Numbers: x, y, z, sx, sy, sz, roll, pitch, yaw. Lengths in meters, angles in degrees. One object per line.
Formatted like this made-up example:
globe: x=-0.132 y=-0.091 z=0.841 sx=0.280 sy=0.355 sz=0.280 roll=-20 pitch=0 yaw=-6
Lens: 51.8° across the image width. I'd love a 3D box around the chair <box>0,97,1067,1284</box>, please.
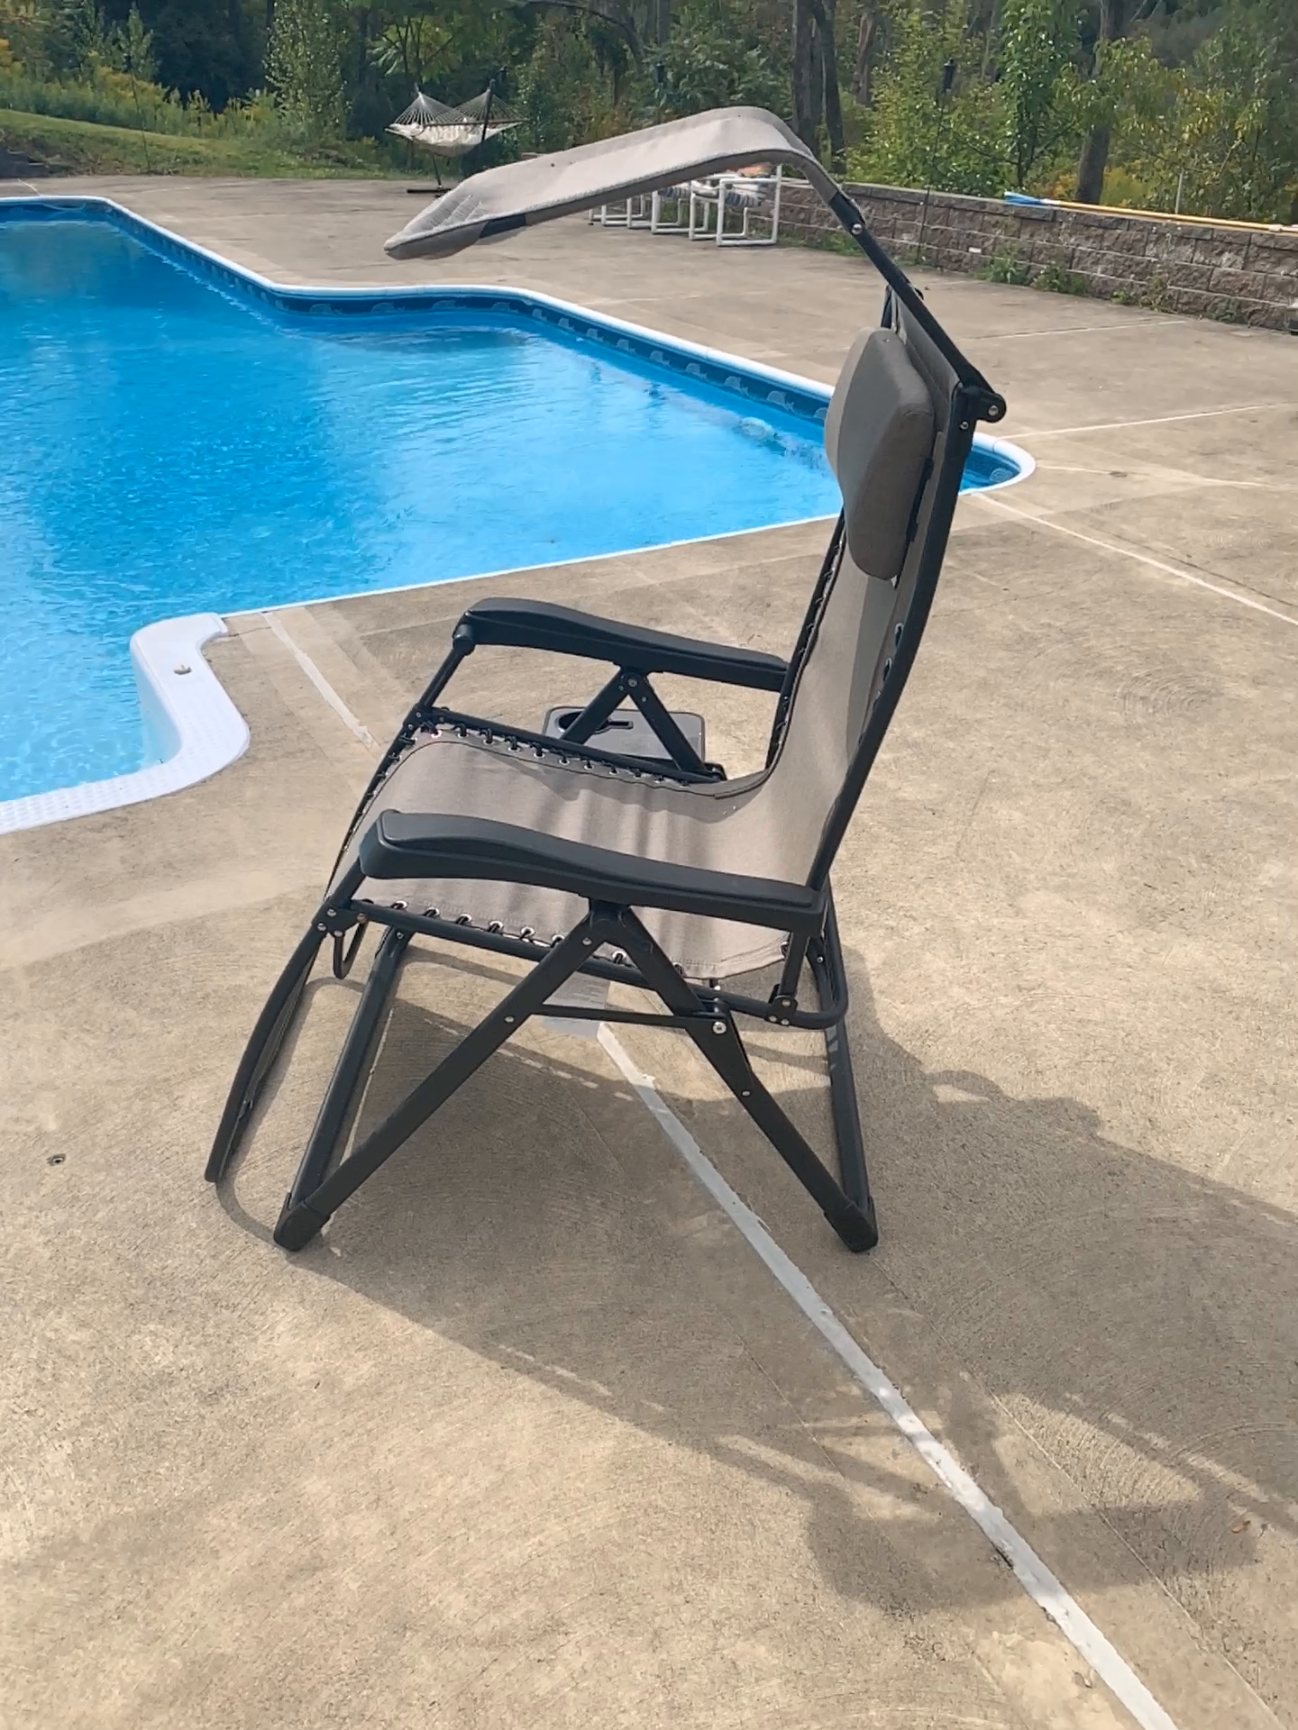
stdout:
chair: x=-0.148 y=-0.307 z=1.679 sx=0.921 sy=1.137 sz=1.052 roll=2 pitch=30 yaw=3
